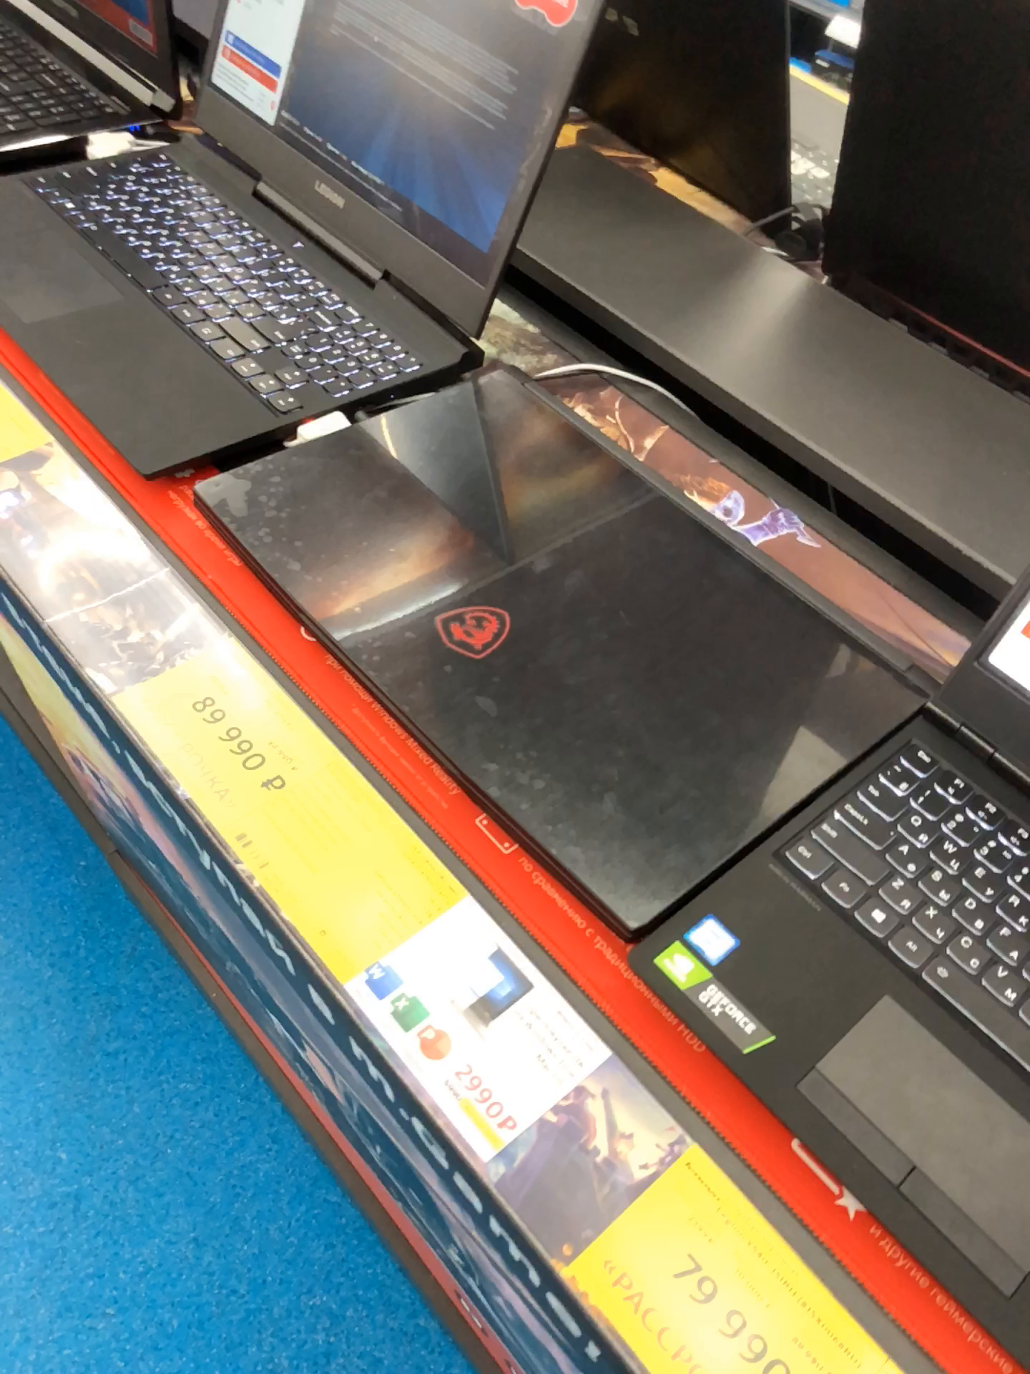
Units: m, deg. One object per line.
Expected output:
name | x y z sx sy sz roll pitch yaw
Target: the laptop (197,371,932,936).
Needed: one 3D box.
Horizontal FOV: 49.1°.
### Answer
laptop | 0.022 -0.054 0.624 0.239 0.002 0.353 -30 59 -31
